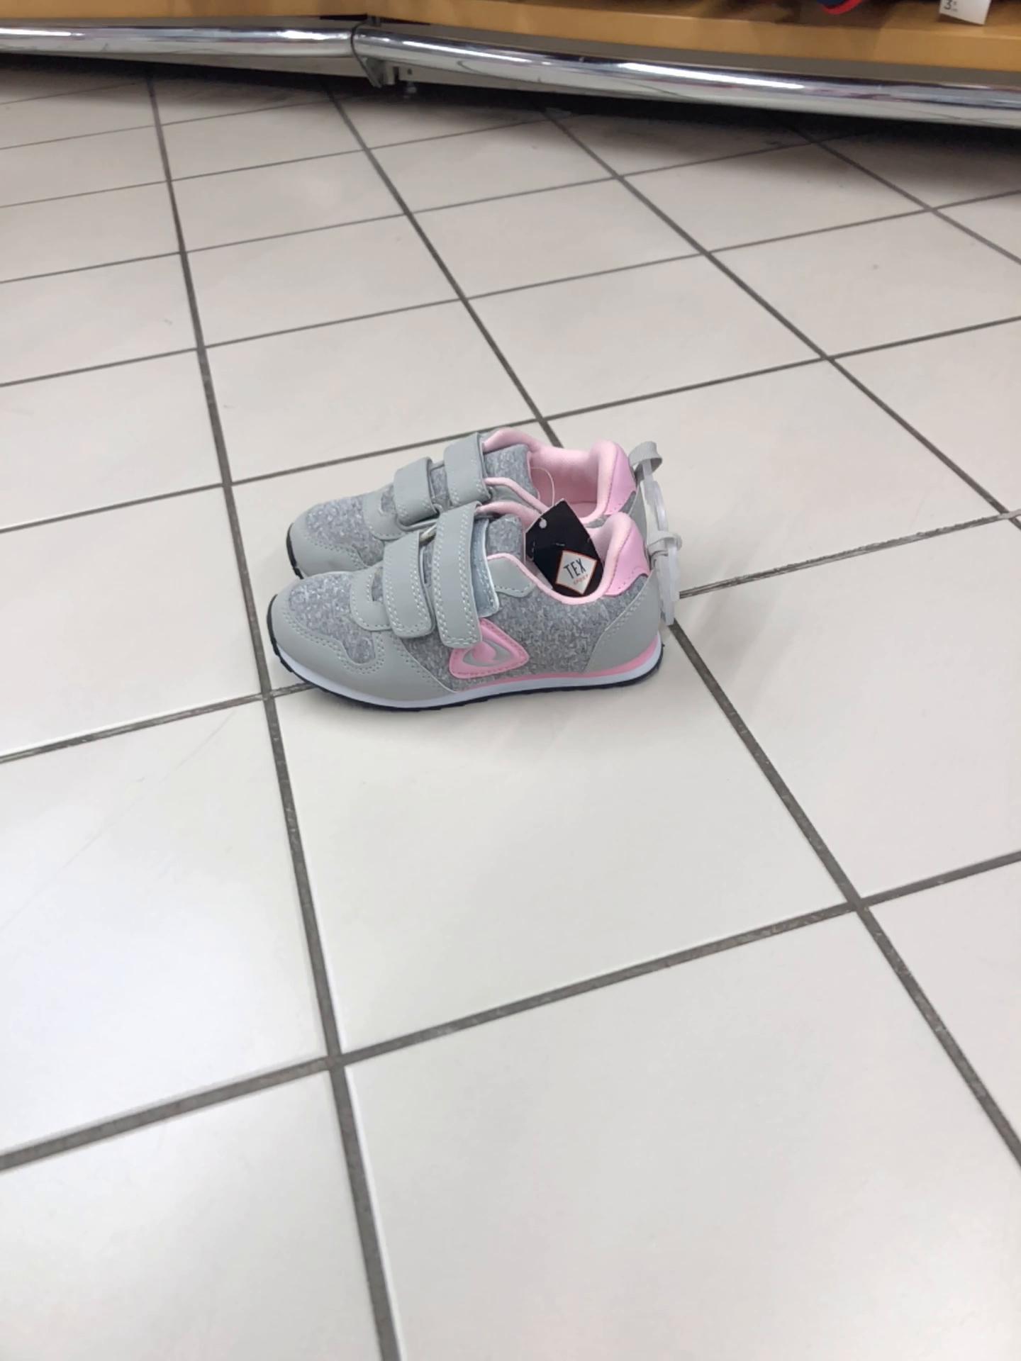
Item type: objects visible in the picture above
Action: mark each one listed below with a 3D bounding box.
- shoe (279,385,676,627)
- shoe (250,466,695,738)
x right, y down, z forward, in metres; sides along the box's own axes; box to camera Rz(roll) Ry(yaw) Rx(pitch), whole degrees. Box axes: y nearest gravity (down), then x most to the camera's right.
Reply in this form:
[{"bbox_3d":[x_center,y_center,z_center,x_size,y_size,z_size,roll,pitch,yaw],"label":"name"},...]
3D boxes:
[{"bbox_3d":[-0.015,-0.088,0.560,0.180,0.070,0.080,-6,41,0],"label":"shoe"},{"bbox_3d":[-0.013,-0.036,0.509,0.180,0.080,0.081,-3,41,2],"label":"shoe"}]
